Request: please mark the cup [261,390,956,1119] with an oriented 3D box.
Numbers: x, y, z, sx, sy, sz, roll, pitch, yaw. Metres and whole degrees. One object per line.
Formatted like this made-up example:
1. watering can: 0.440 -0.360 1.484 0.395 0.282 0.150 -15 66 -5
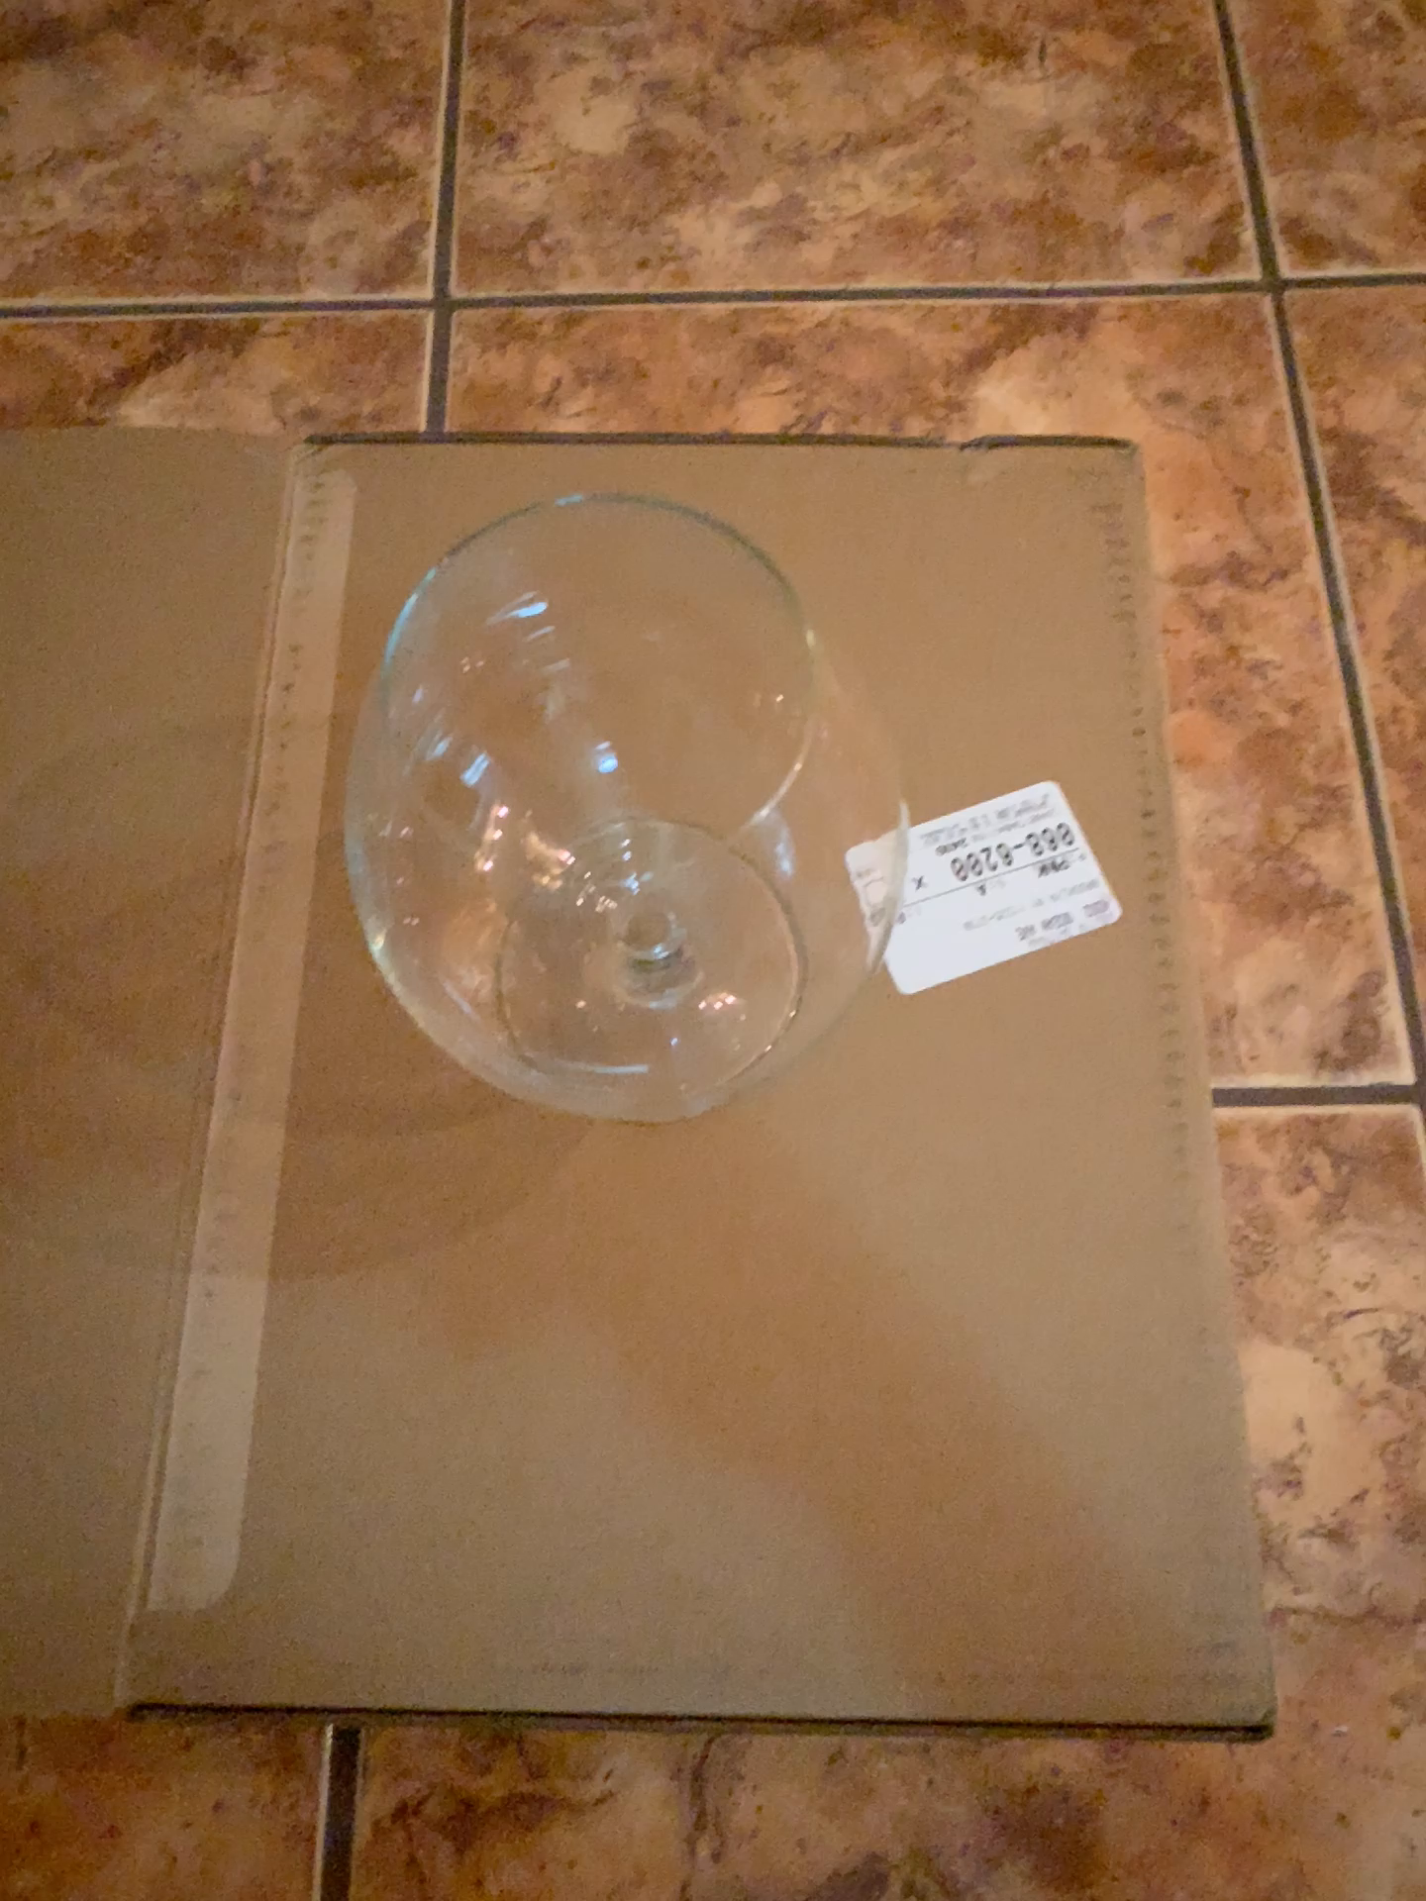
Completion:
1. cup: -0.016 -0.027 0.309 0.105 0.159 0.085 -2 69 0
